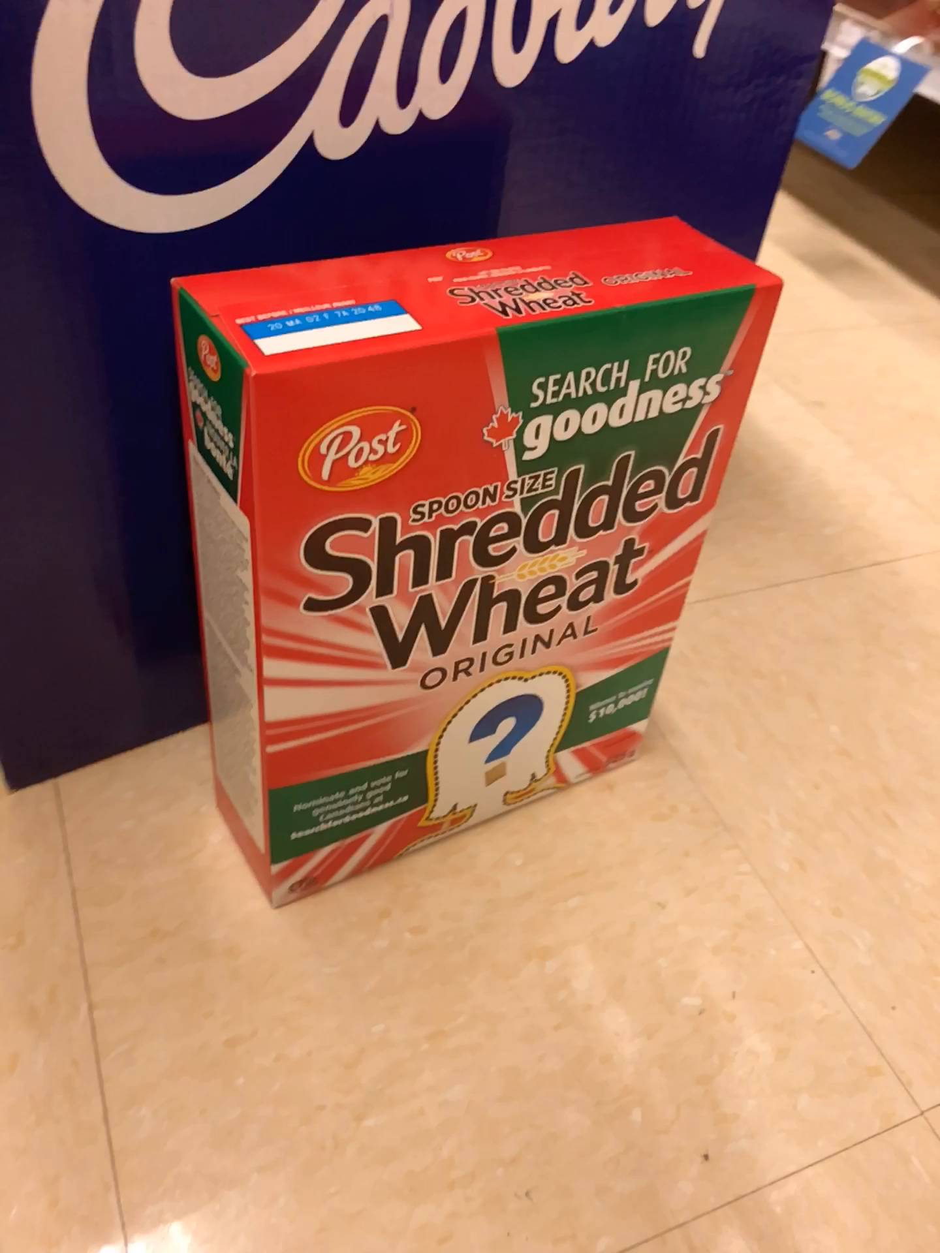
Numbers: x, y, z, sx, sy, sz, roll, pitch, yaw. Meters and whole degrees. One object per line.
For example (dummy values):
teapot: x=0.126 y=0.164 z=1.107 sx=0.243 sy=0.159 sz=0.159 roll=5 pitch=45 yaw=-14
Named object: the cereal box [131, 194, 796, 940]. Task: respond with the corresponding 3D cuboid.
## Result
cereal box: x=-0.006 y=-0.017 z=0.424 sx=0.211 sy=0.268 sz=0.070 roll=-19 pitch=48 yaw=-26
